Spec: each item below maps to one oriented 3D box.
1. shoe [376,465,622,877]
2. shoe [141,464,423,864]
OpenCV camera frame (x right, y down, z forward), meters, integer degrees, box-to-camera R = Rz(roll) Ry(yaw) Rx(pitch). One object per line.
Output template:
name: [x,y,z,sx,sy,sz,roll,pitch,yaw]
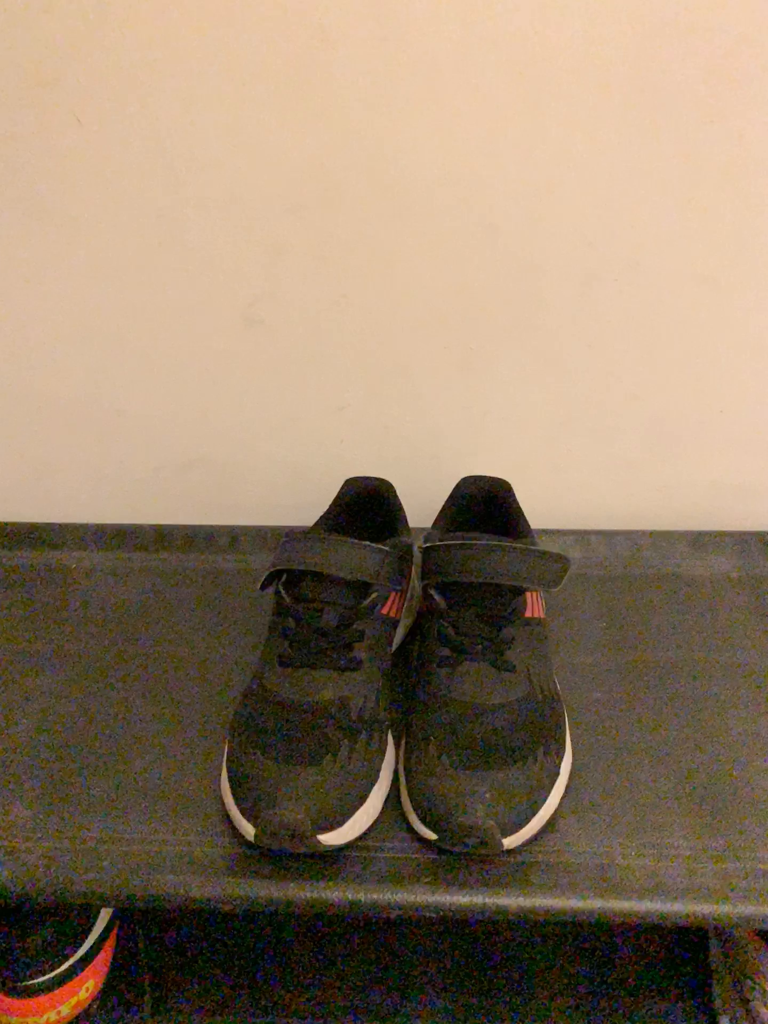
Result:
shoe: [0.052,0.062,0.397,0.090,0.079,0.202,3,33,5]
shoe: [-0.036,0.062,0.411,0.090,0.079,0.202,4,33,7]
